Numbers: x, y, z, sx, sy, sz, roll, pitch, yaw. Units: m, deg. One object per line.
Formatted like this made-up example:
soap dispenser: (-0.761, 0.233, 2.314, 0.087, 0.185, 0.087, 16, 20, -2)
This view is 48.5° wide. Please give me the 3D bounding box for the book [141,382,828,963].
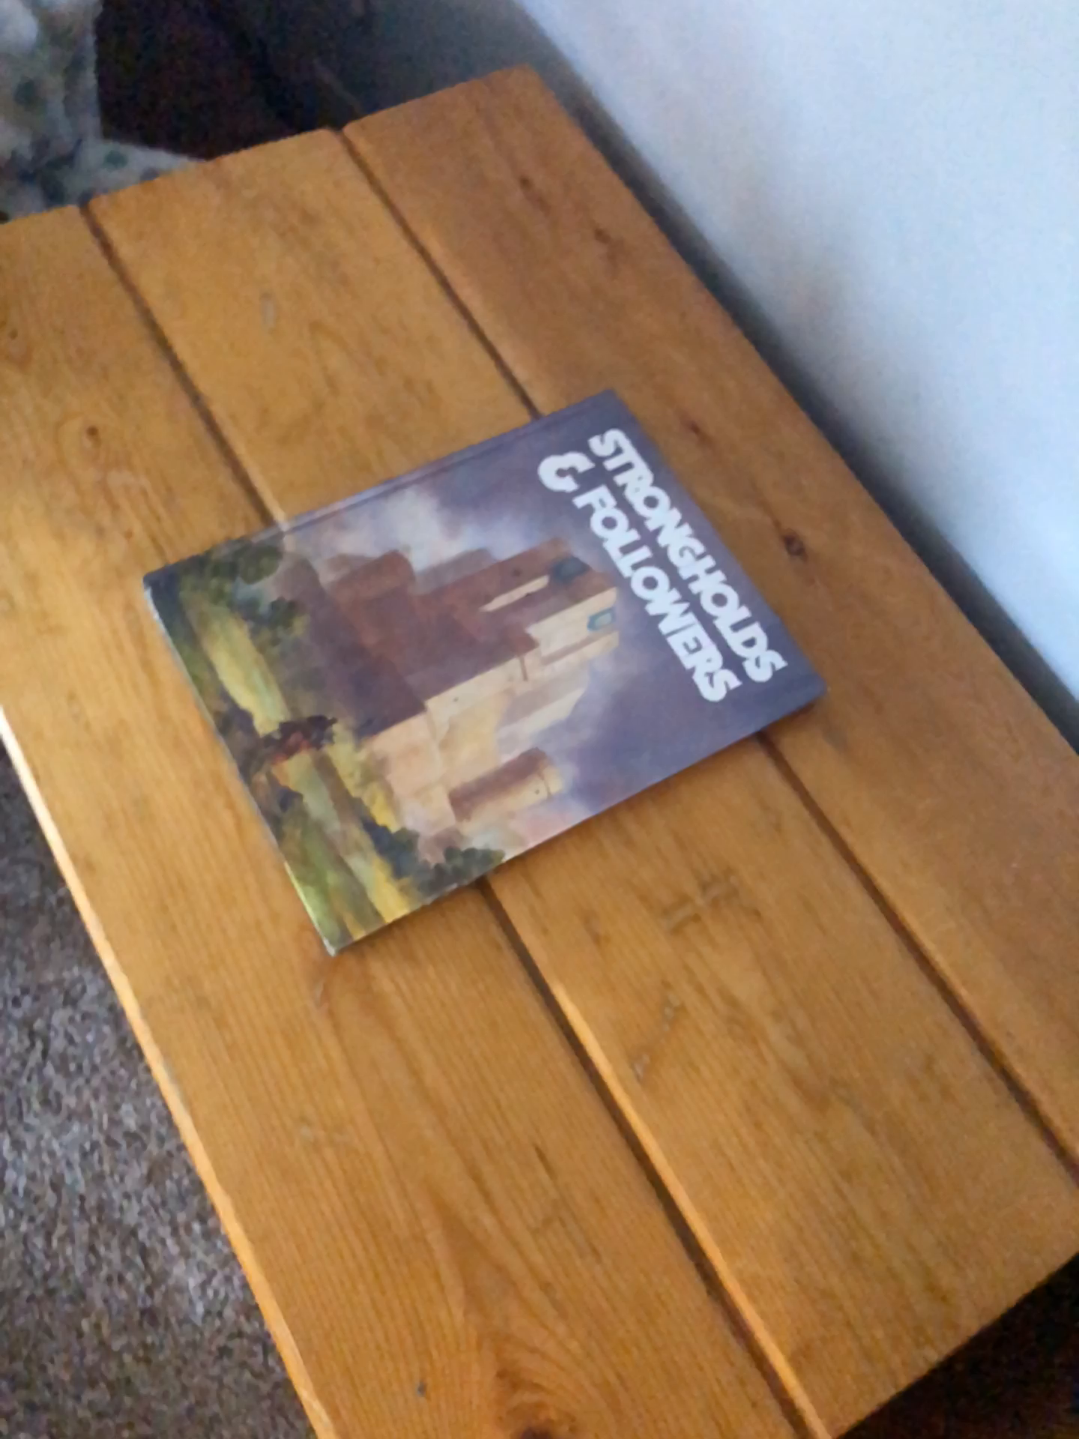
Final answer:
book: (-0.028, -0.038, 0.626, 0.281, 0.042, 0.213, -26, 71, -16)
